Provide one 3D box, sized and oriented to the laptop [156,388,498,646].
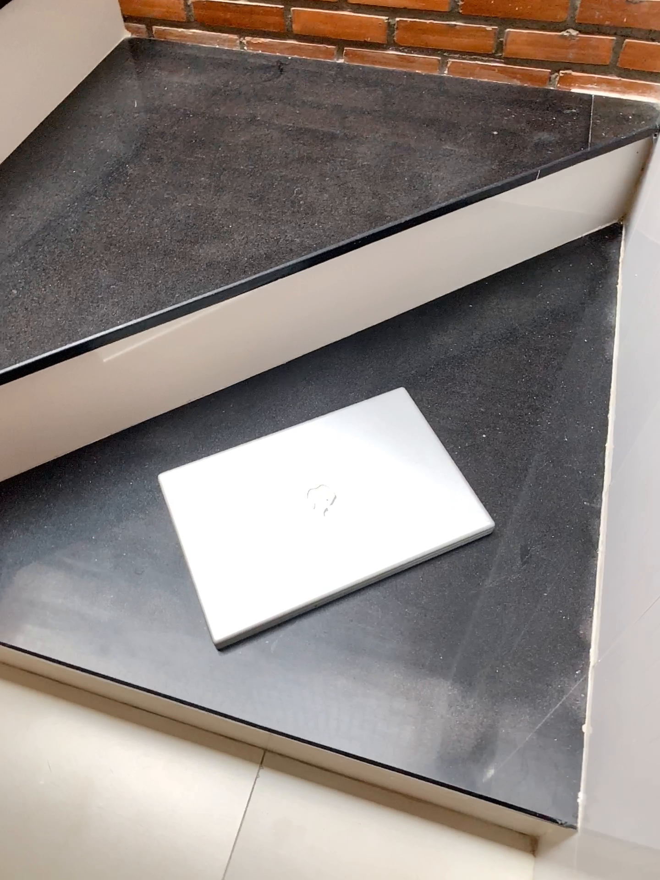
[{"bbox_3d":[-0.010,0.098,1.048,0.440,0.013,0.292,-21,59,-13],"label":"laptop"}]
